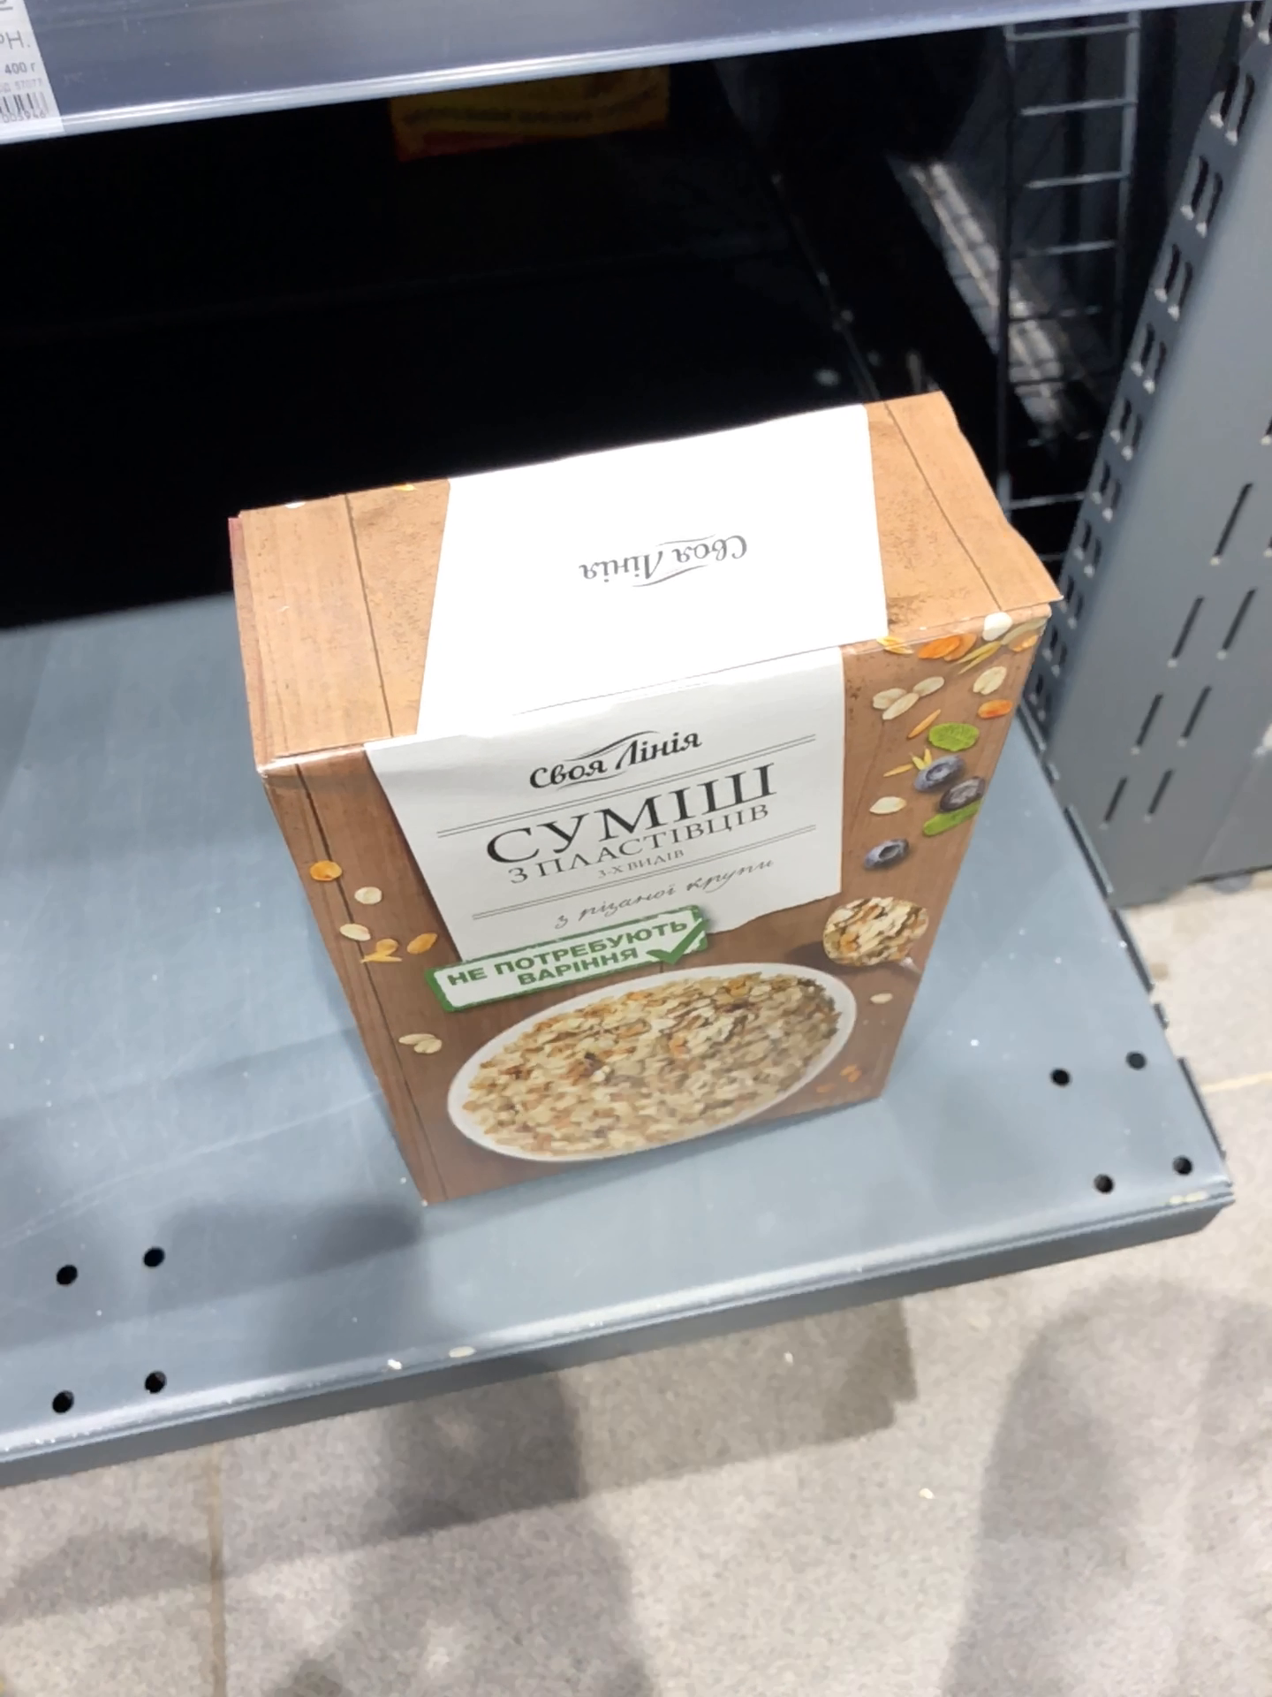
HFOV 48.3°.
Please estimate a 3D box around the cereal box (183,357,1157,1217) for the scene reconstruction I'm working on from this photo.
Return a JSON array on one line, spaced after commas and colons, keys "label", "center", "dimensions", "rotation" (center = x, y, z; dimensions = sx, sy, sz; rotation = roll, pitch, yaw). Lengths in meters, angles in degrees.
[{"label": "cereal box", "center": [0.005, 0.004, 0.334], "dimensions": [0.160, 0.209, 0.060], "rotation": [-12, 57, -7]}]
